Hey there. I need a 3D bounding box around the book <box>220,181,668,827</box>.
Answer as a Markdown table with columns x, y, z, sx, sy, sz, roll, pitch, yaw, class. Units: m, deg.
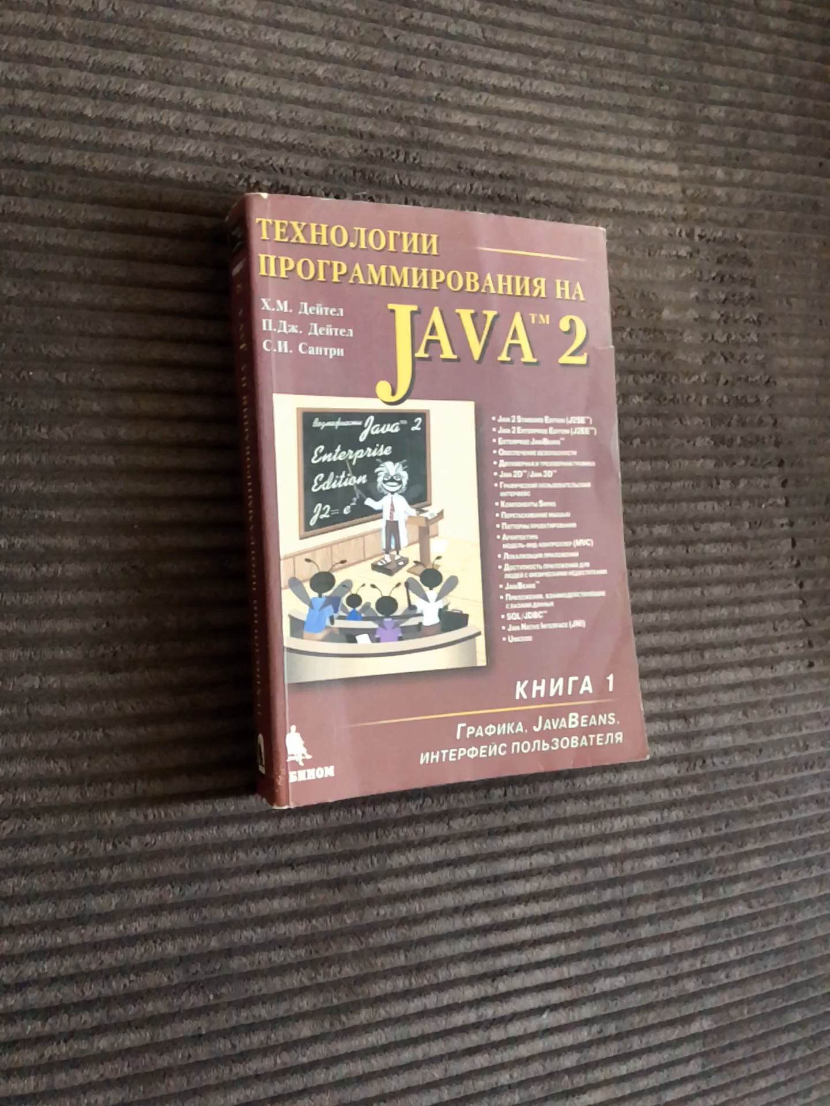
| x | y | z | sx | sy | sz | roll | pitch | yaw | class |
| --- | --- | --- | --- | --- | --- | --- | --- | --- | --- |
| 0.013 | -0.023 | 0.391 | 0.166 | 0.050 | 0.240 | -3 | 86 | -22 | book |
